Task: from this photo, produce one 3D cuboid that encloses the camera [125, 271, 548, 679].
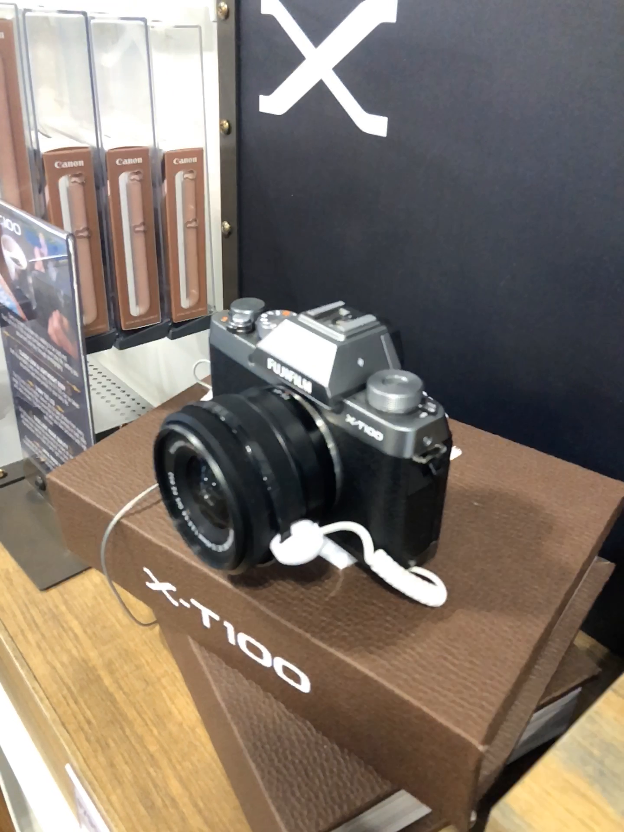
[{"bbox_3d":[0.003,0.010,0.282,0.100,0.089,0.131,-20,37,-35],"label":"camera"}]
